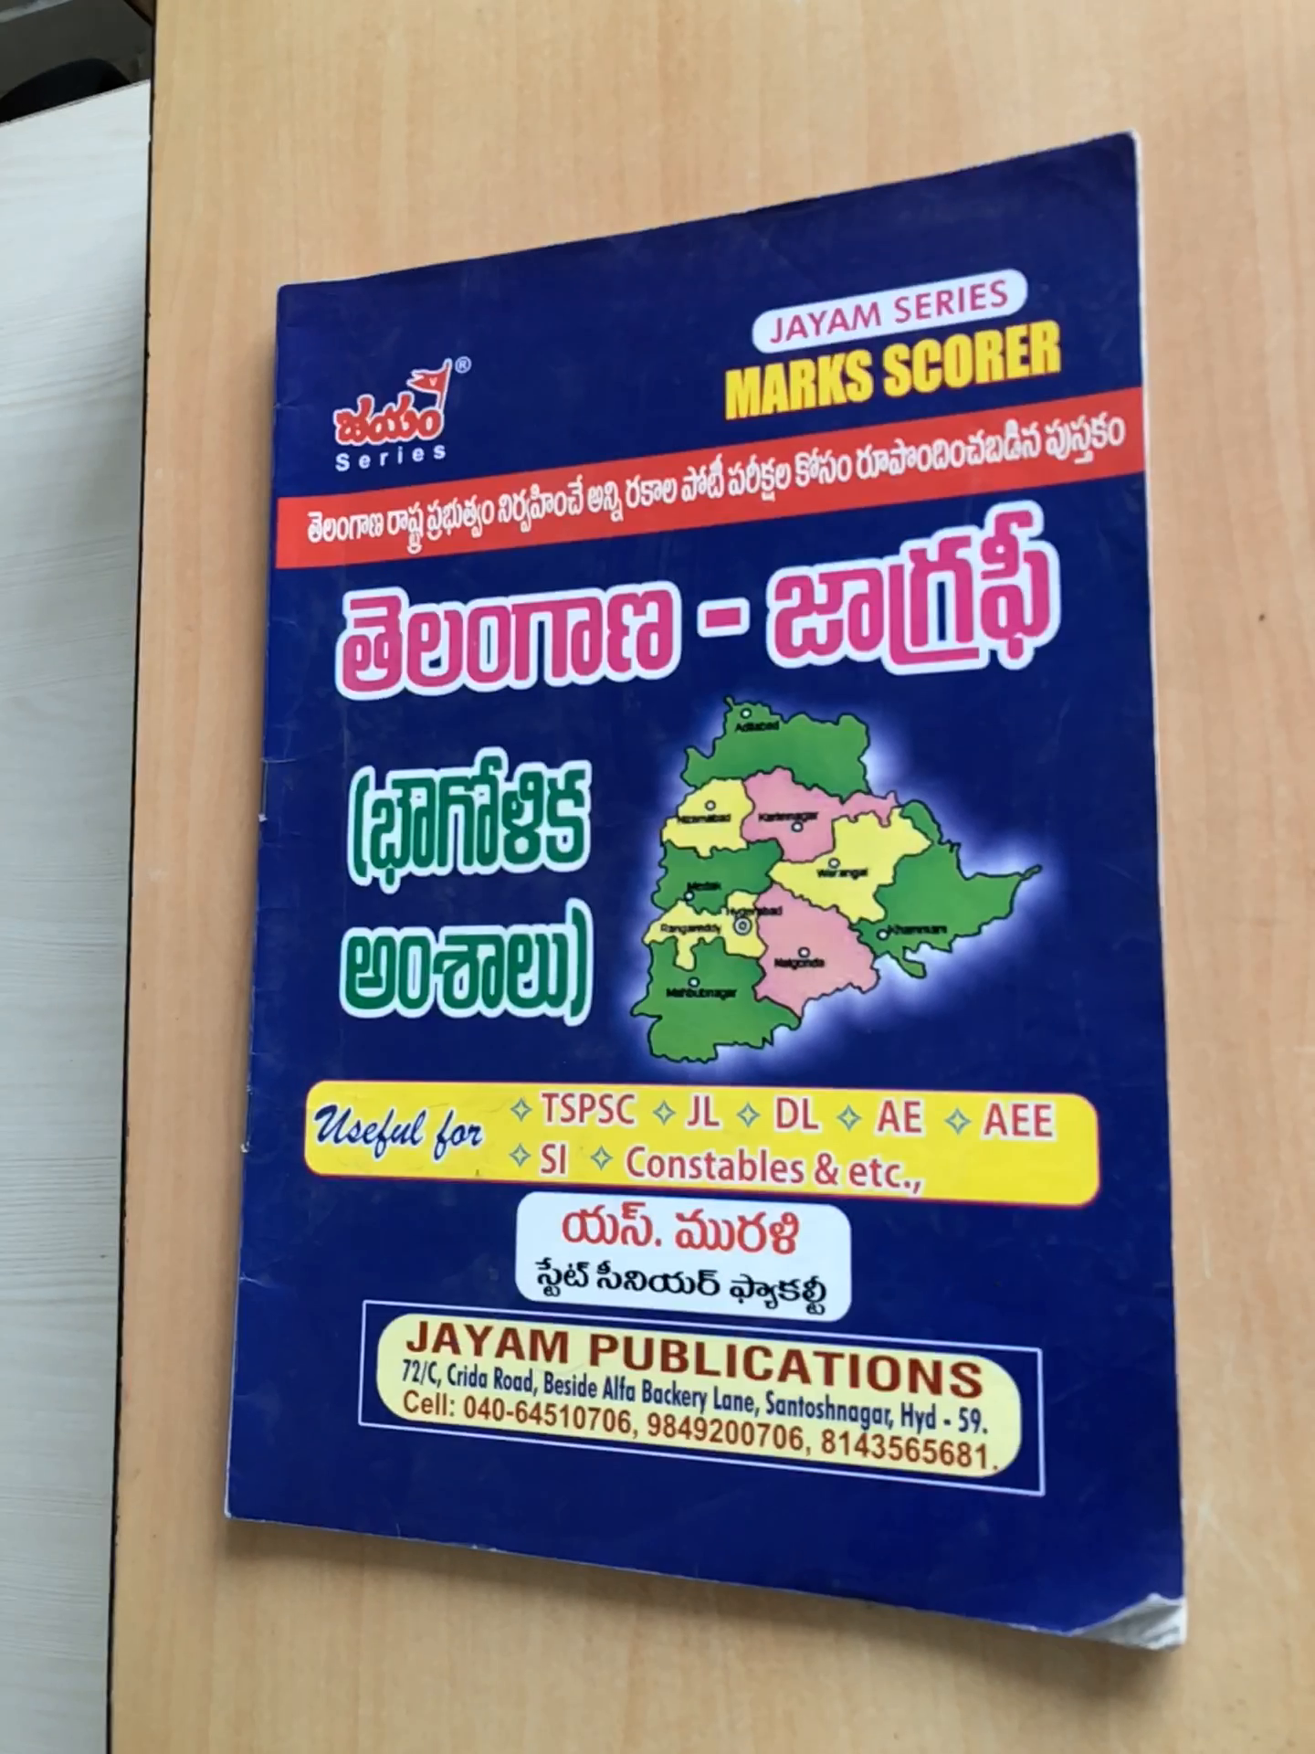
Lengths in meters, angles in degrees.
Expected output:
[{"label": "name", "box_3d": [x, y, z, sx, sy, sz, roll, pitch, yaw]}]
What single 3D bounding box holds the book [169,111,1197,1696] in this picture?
[{"label": "book", "box_3d": [0.002, 0.000, 0.307, 0.200, 0.040, 0.280, -1, 82, 19]}]
